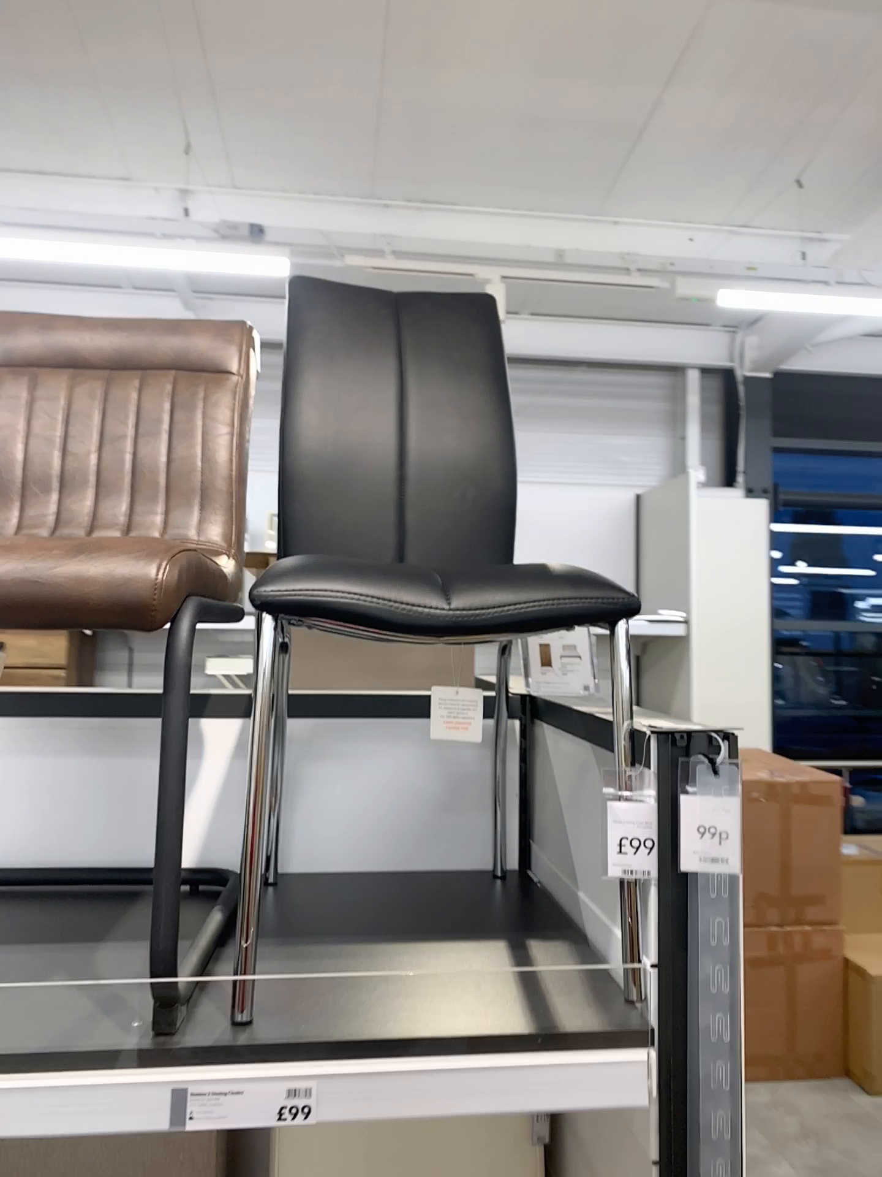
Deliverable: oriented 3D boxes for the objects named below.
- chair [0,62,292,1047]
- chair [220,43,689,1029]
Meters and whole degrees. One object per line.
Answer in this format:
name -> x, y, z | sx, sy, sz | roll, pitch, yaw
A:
chair -> -0.500, -0.027, 1.124 | 0.554, 0.885, 0.582 | 1, -4, -5
chair -> -0.011, -0.053, 1.232 | 0.474, 0.995, 0.582 | 2, -4, -8
